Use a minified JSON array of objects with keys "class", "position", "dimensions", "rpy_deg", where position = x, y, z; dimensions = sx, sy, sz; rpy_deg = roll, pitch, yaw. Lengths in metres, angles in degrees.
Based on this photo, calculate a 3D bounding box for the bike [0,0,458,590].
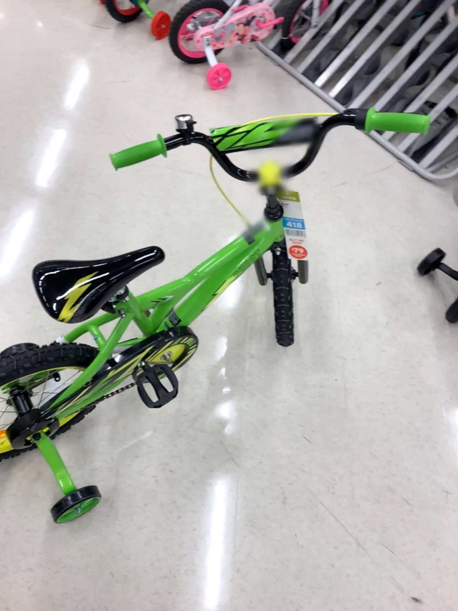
[{"class":"bike","position":[-0.172,-0.141,1.007],"dimensions":[1.046,0.807,0.553],"rpy_deg":[-36,70,-23]}]
